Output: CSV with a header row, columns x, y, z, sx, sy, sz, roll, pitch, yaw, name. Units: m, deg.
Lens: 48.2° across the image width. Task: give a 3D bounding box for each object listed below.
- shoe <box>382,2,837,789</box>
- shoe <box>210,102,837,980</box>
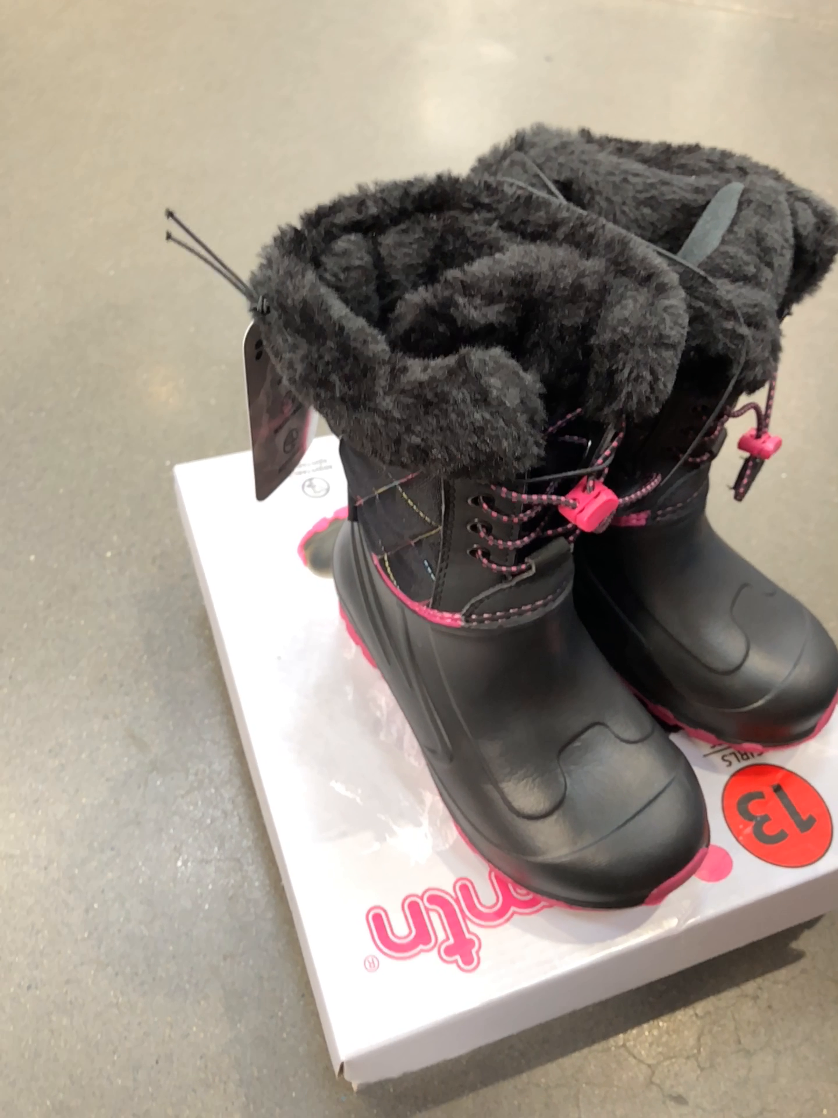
x,y,z,sx,sy,sz,roll,pitch,yaw,name
0.112,-0.058,0.396,0.220,0.229,0.110,36,57,18,shoe
0.041,0.000,0.341,0.110,0.209,0.221,-33,64,-28,shoe
